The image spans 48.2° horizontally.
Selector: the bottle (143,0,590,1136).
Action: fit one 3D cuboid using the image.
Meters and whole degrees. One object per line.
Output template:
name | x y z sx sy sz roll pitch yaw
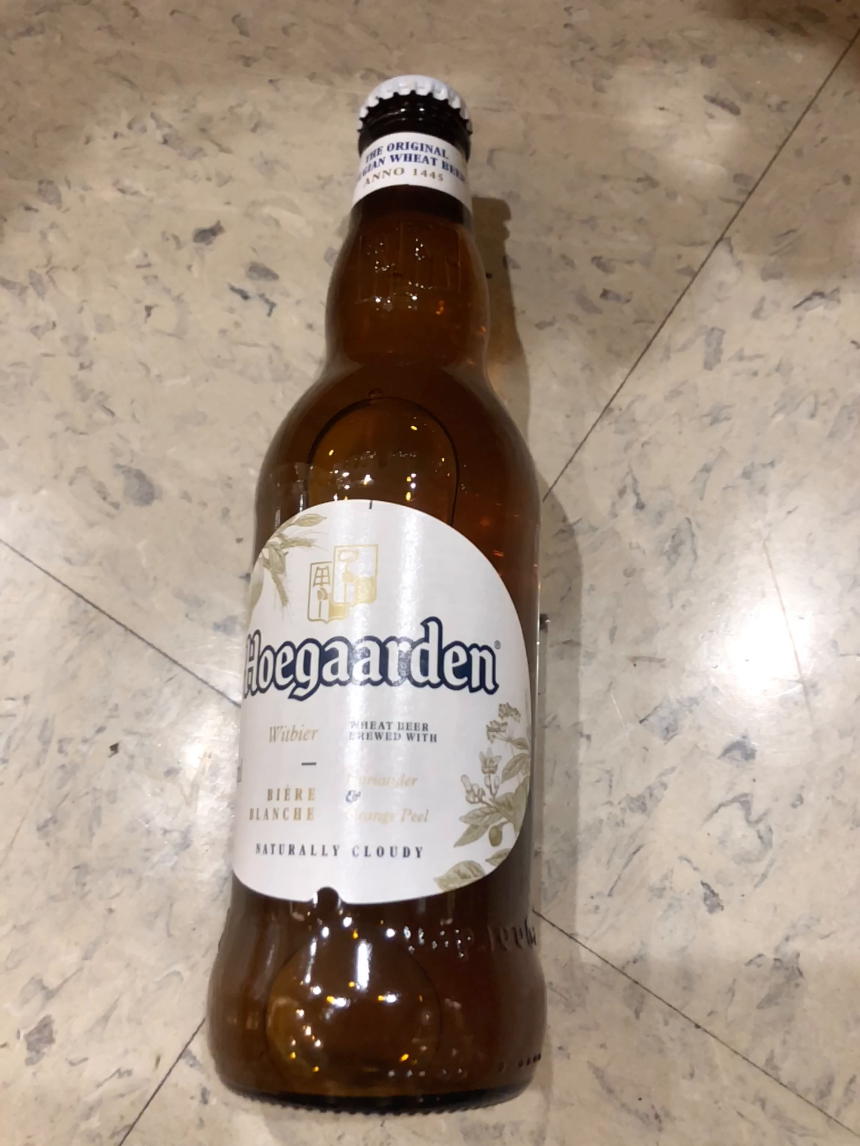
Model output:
bottle | -0.007 -0.016 0.208 0.070 0.050 0.230 0 73 4
